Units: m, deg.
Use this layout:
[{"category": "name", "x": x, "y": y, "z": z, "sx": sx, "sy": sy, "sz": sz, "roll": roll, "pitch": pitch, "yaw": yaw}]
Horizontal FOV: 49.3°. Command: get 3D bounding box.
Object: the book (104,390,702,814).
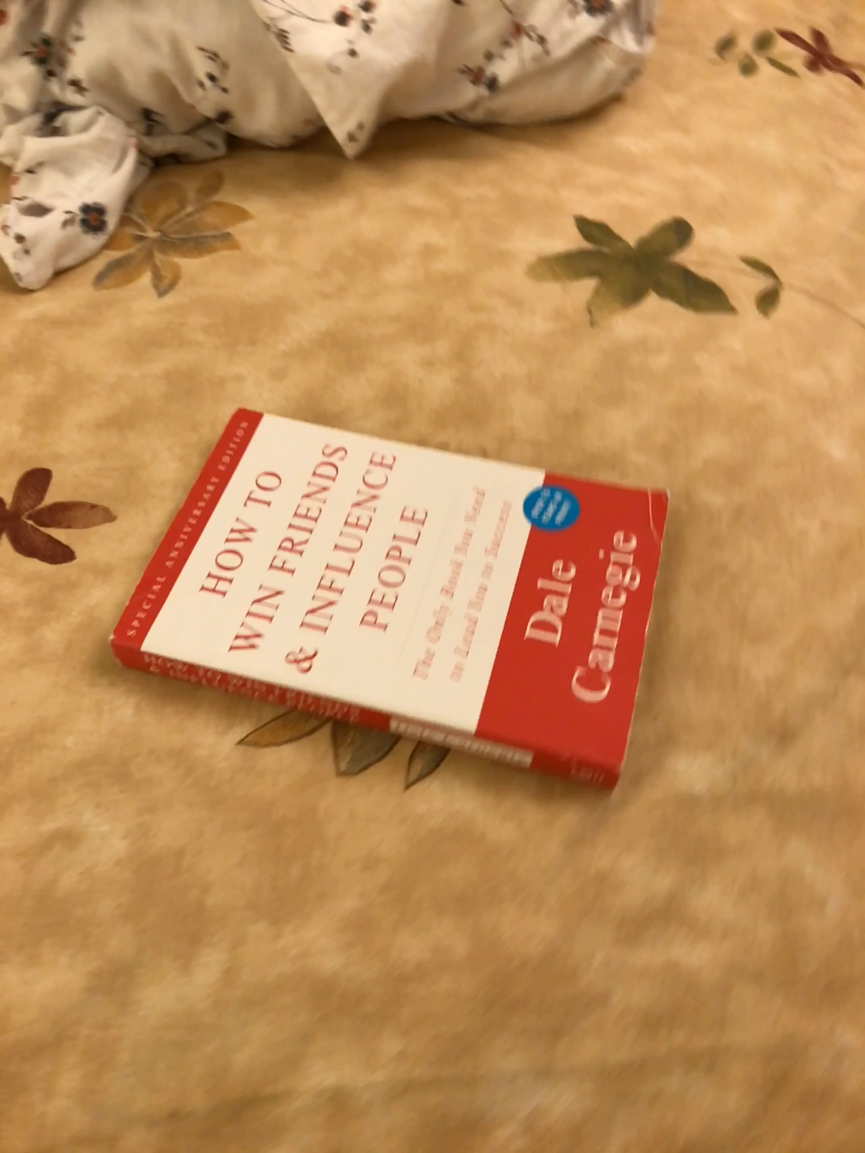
[{"category": "book", "x": -0.005, "y": 0.000, "z": 0.407, "sx": 0.220, "sy": 0.020, "sz": 0.151, "roll": 13, "pitch": 58, "yaw": 9}]
